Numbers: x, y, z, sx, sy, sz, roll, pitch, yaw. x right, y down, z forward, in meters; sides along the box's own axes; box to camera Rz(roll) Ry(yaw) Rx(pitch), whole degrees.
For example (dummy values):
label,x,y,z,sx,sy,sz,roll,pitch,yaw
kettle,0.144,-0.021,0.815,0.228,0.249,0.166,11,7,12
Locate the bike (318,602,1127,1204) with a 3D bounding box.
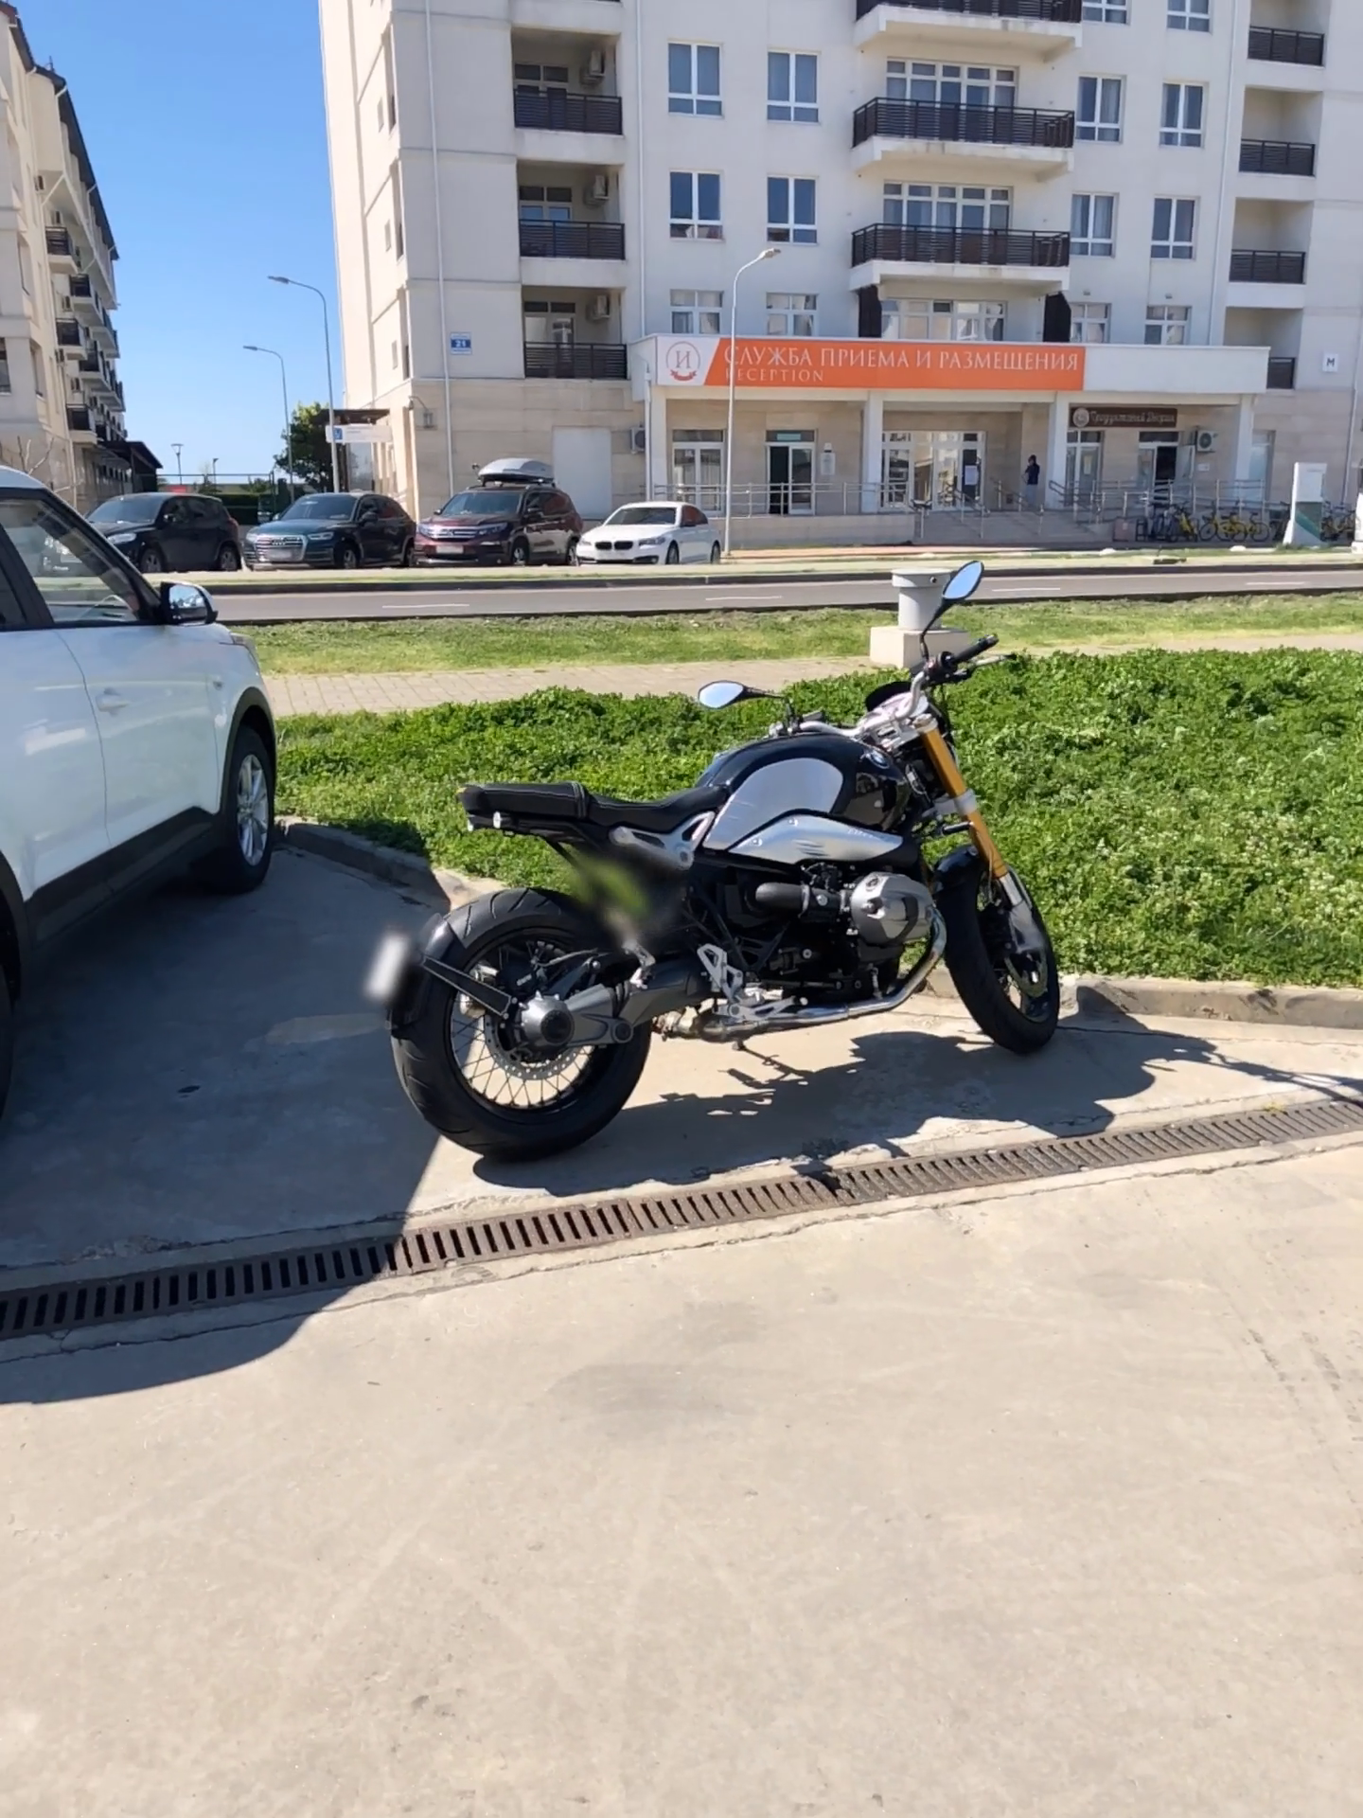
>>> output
label,x,y,z,sx,sy,sz,roll,pitch,yaw
bike,0.148,-0.157,3.609,1.835,1.013,0.778,-11,17,-33
